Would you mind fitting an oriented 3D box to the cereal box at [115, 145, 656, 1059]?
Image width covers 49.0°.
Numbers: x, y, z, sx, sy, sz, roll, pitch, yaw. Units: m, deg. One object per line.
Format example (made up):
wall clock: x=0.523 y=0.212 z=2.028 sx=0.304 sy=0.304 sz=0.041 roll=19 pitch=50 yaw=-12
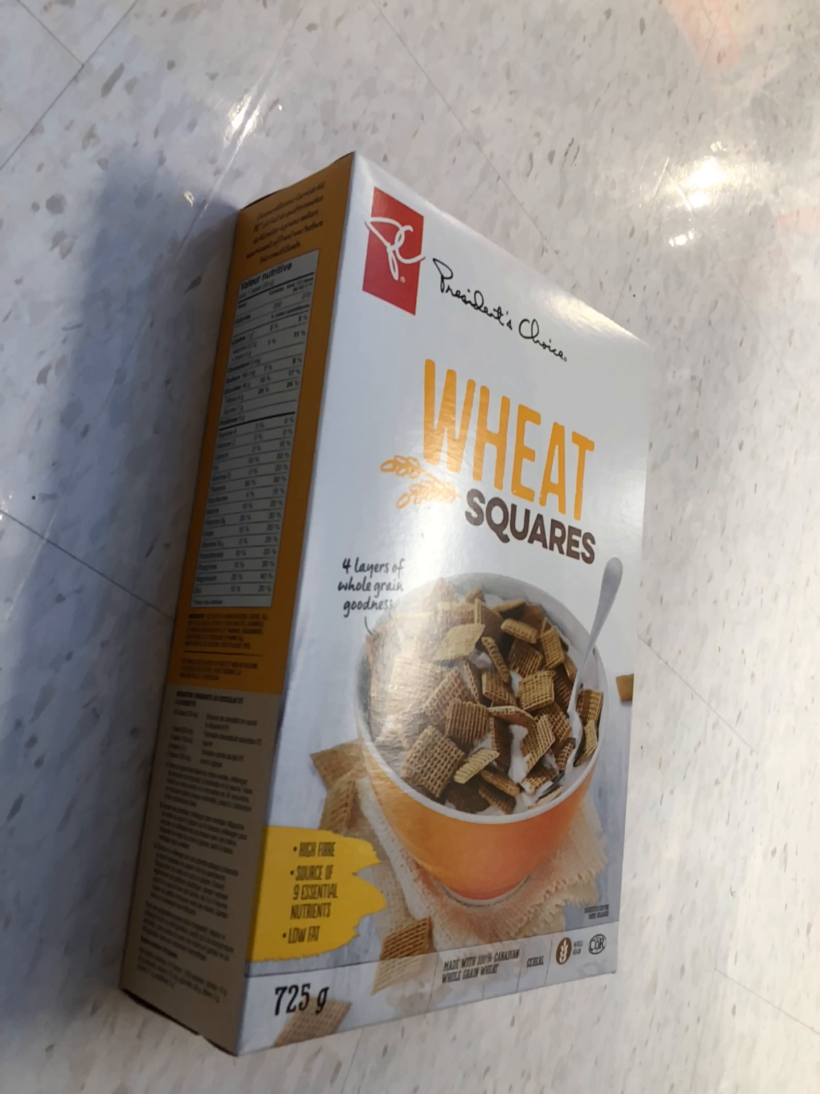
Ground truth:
cereal box: x=0.010 y=0.026 z=0.380 sx=0.201 sy=0.080 sz=0.290 roll=16 pitch=75 yaw=-44
